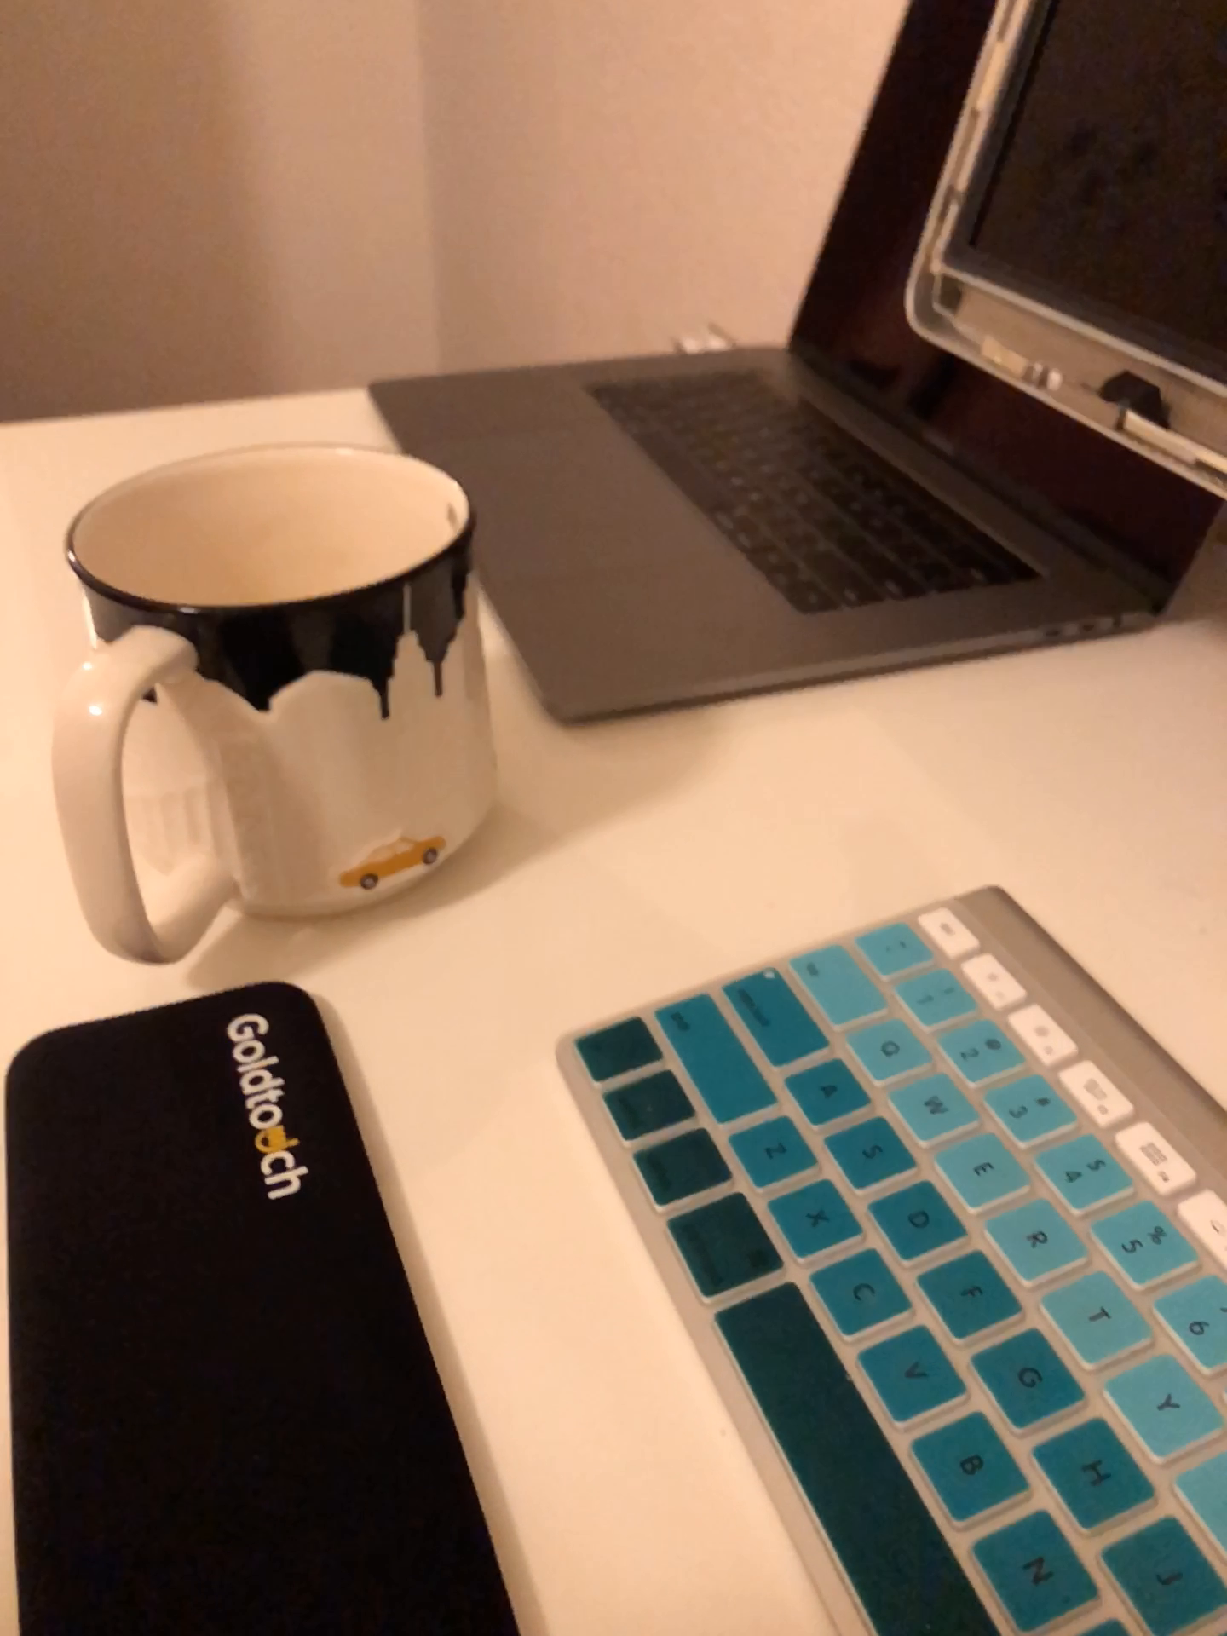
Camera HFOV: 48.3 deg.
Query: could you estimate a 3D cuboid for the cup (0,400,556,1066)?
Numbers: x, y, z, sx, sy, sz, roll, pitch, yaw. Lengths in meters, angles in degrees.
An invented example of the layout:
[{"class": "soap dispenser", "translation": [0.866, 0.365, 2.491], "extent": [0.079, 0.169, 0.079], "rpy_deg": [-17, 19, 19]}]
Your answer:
[{"class": "cup", "translation": [-0.092, -0.034, 0.358], "extent": [0.110, 0.089, 0.161], "rpy_deg": [9, 36, 12]}]
